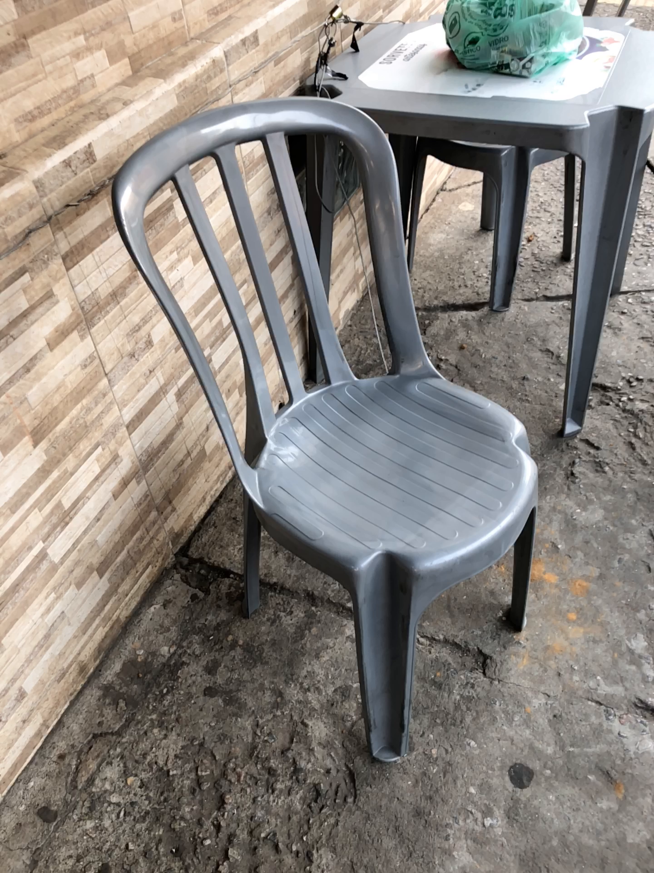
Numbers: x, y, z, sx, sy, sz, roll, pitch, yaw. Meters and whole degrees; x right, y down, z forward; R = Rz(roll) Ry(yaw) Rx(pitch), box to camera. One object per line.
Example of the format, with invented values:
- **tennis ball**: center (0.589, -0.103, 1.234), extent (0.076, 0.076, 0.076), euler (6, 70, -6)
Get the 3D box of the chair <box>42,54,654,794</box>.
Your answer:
- **chair**: center (0.054, 0.006, 1.031), extent (0.441, 0.834, 0.502), euler (-36, 51, -27)
